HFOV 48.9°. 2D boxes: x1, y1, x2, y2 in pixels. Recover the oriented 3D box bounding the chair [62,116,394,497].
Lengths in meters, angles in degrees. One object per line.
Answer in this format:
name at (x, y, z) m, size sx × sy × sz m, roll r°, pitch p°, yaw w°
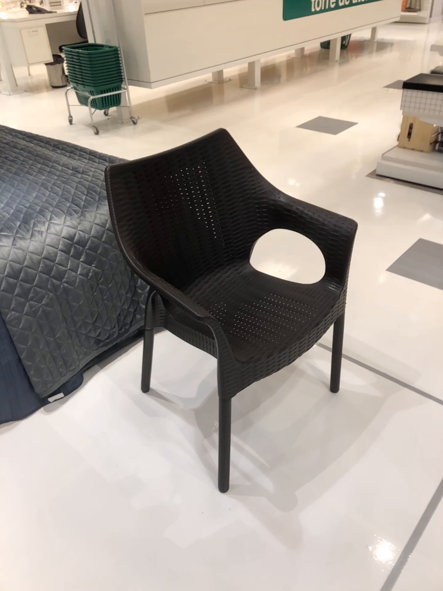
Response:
chair at (0.029, -0.016, 1.418) m, size 0.593 × 0.764 × 0.572 m, roll -30°, pitch 43°, yaw -33°
